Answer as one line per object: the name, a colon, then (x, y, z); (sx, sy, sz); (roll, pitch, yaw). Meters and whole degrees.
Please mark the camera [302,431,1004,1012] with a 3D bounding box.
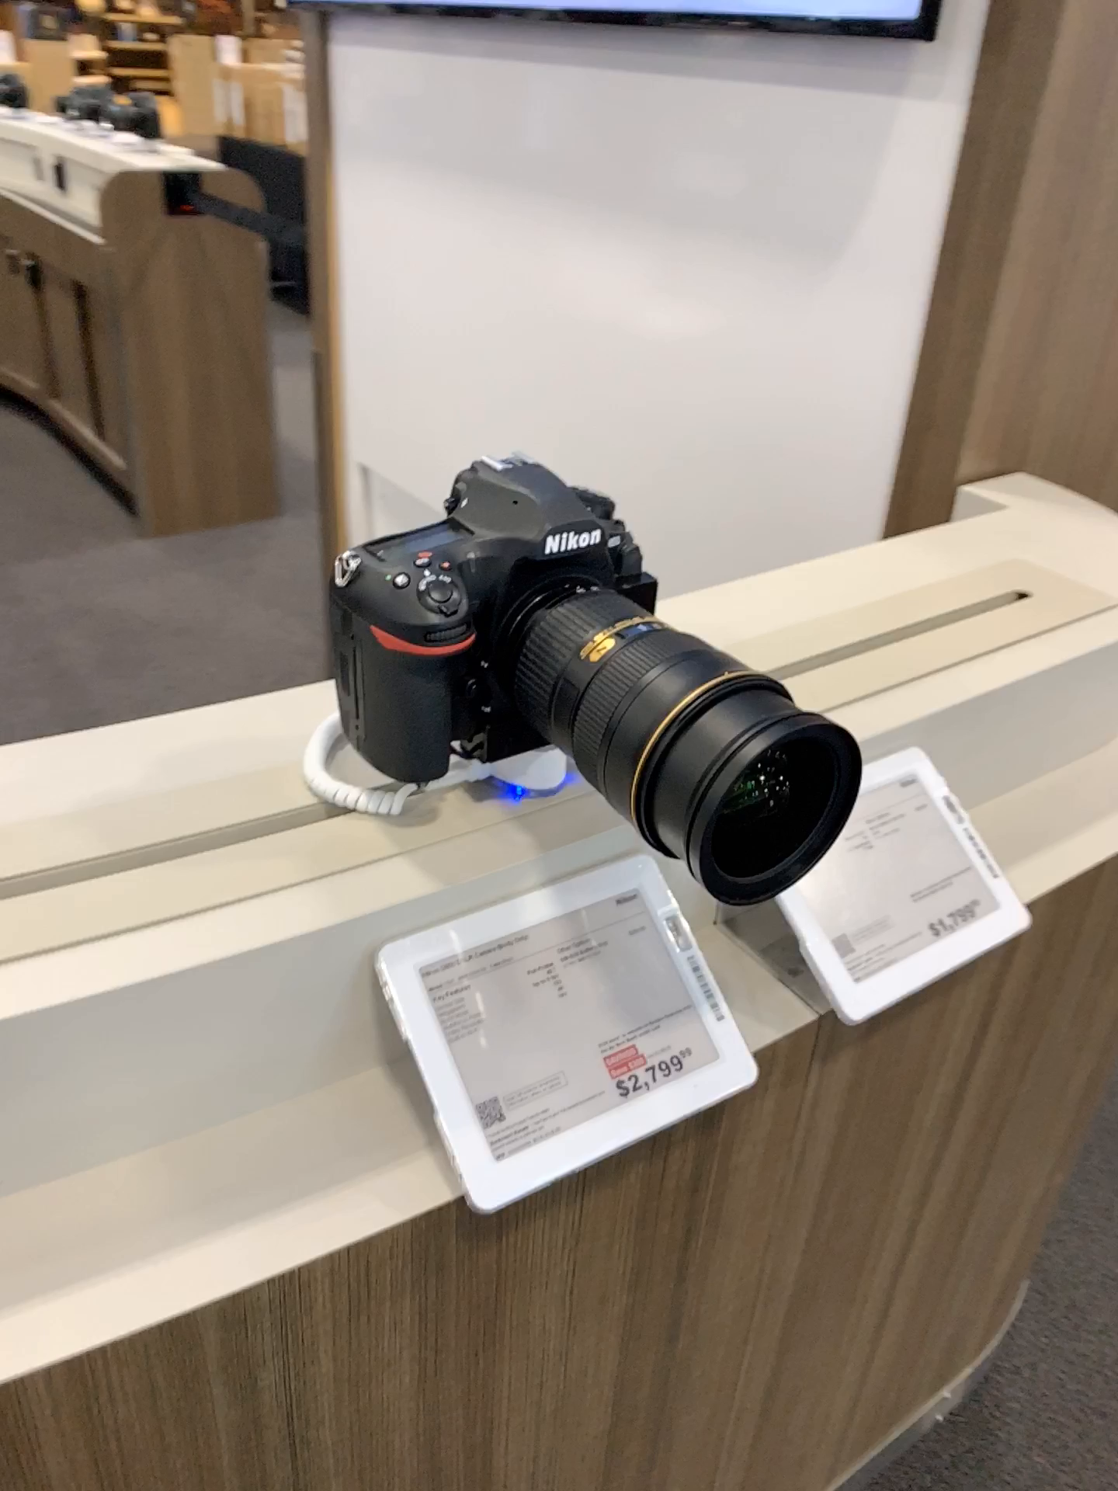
camera: (0.021, -0.034, 0.479); (0.160, 0.109, 0.241); (-17, 37, -30)
